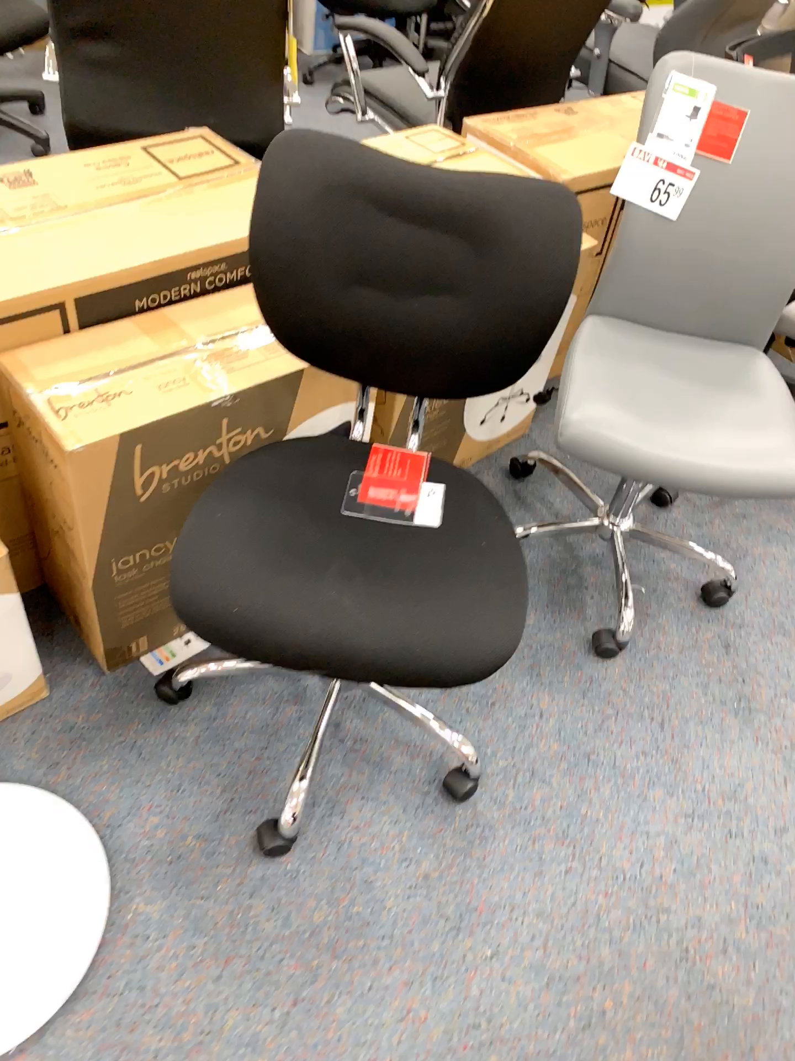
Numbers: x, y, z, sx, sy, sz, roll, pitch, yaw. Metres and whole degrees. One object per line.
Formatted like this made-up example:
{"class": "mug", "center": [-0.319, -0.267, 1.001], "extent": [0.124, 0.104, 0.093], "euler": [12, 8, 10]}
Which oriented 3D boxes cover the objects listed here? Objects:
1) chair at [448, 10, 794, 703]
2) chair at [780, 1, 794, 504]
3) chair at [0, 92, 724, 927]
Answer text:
{"class": "chair", "center": [0.549, -0.283, 1.538], "extent": [0.737, 0.959, 0.711], "euler": [8, 45, -4]}
{"class": "chair", "center": [1.882, -0.797, 2.264], "extent": [0.978, 0.989, 0.710], "euler": [-20, 53, -28]}
{"class": "chair", "center": [-0.080, 0.007, 1.168], "extent": [0.647, 0.880, 0.660], "euler": [12, 45, 0]}
